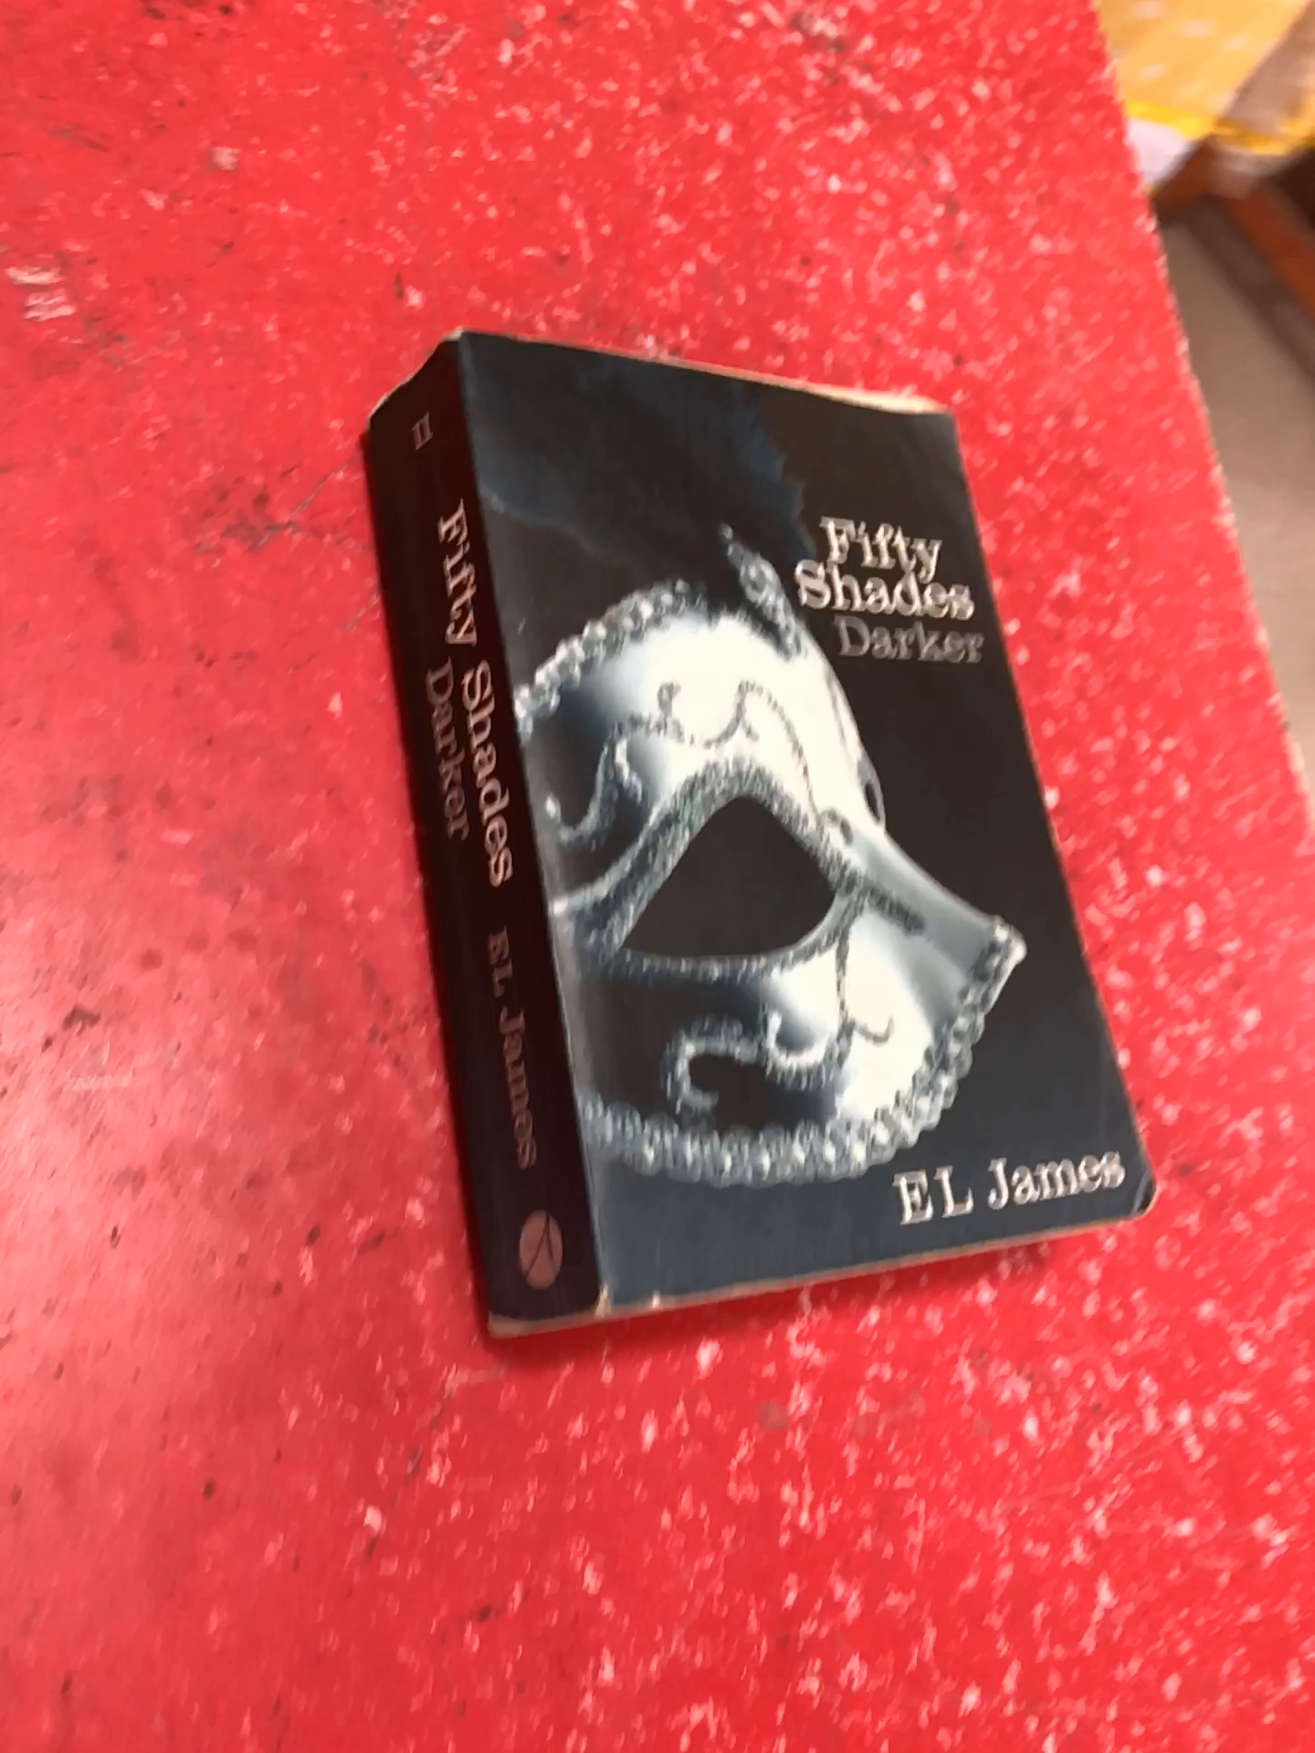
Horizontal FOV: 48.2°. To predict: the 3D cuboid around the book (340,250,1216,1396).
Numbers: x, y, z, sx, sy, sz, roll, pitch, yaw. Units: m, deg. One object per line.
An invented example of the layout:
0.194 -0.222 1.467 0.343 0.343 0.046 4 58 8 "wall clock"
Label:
0.021 -0.015 0.309 0.140 0.050 0.210 -1 72 -29 "book"
